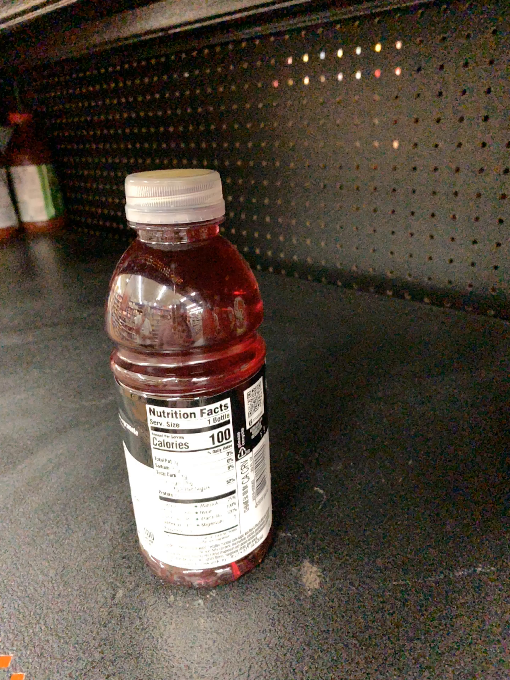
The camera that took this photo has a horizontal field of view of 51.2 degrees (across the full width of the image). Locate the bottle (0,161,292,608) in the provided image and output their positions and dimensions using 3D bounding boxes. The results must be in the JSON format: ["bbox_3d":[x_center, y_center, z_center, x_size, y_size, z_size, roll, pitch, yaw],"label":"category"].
[{"bbox_3d":[-0.036,0.018,0.246,0.080,0.179,0.080,-4,24,2],"label":"bottle"}]
